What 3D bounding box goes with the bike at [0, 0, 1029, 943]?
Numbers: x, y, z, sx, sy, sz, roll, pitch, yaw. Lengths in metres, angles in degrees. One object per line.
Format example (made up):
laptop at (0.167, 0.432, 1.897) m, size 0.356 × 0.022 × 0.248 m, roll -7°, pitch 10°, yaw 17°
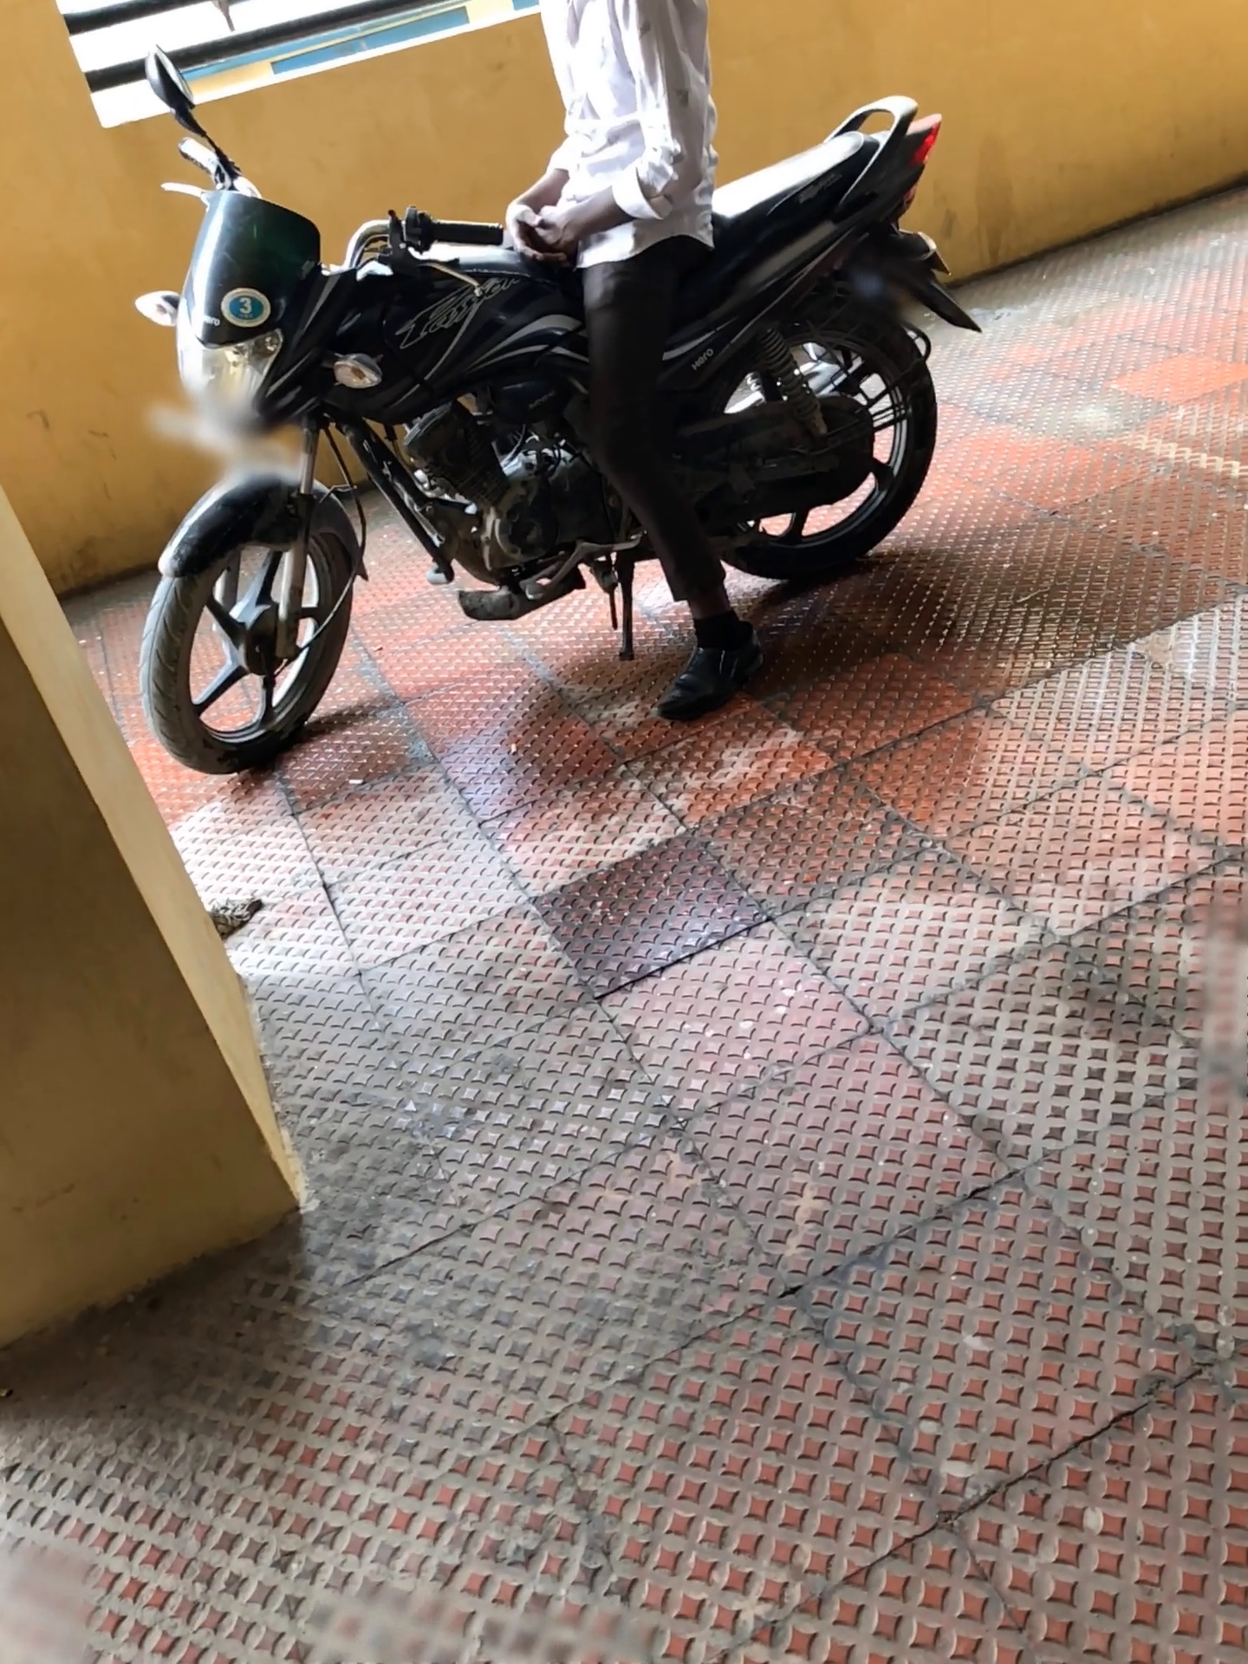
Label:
bike at (-0.191, -0.844, 2.762) m, size 1.879 × 1.185 × 0.813 m, roll -23°, pitch 34°, yaw -12°
